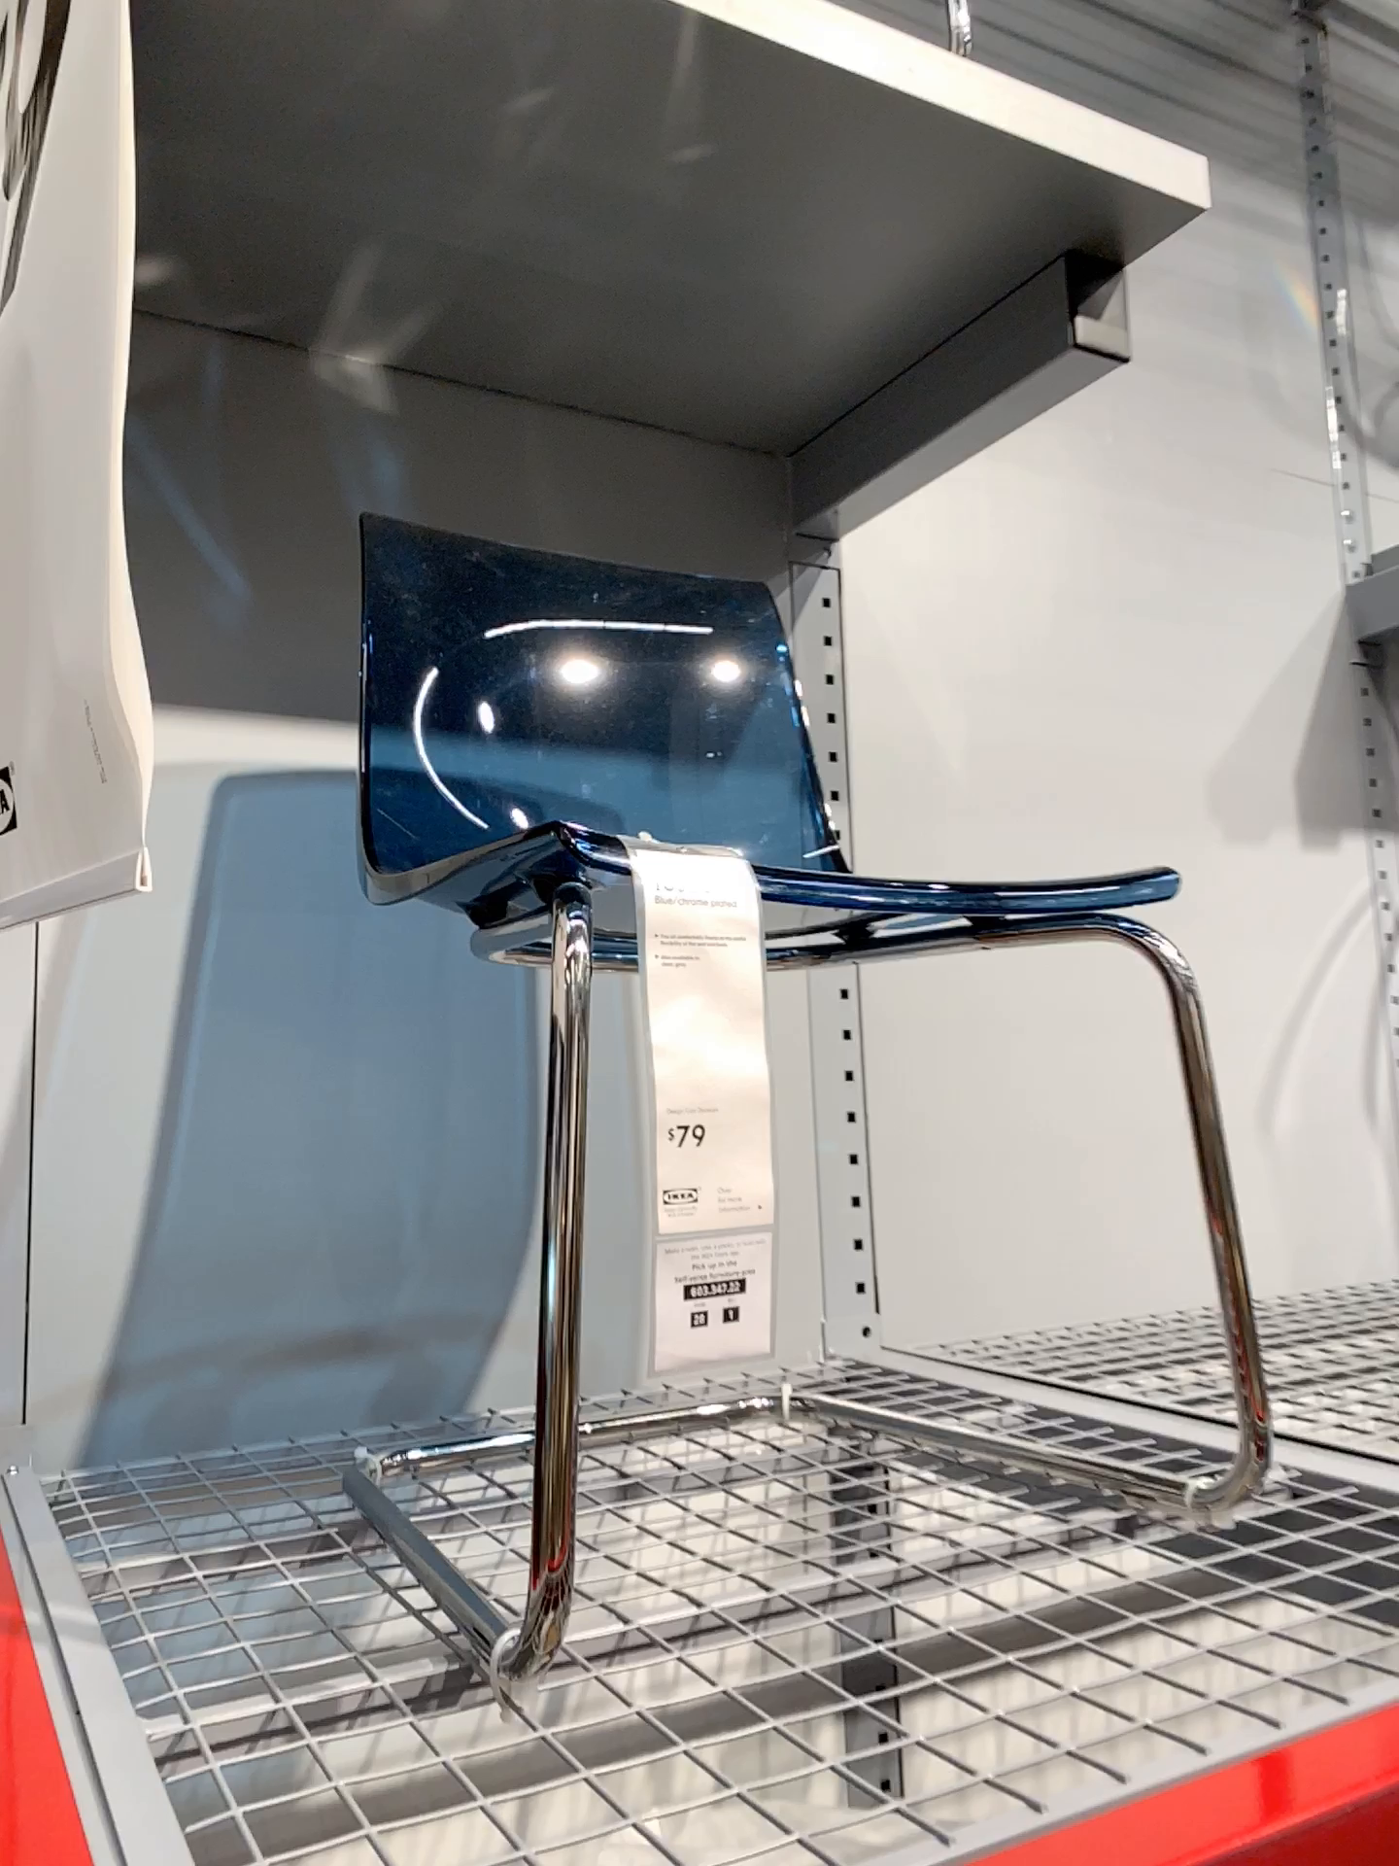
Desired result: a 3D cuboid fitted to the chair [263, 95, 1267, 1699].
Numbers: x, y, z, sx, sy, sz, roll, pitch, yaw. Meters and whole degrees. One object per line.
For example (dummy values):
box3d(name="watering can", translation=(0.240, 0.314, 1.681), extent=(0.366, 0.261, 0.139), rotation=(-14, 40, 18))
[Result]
box3d(name="chair", translation=(-0.006, -0.010, 1.109), extent=(0.530, 0.842, 0.549), rotation=(2, -8, -28))
